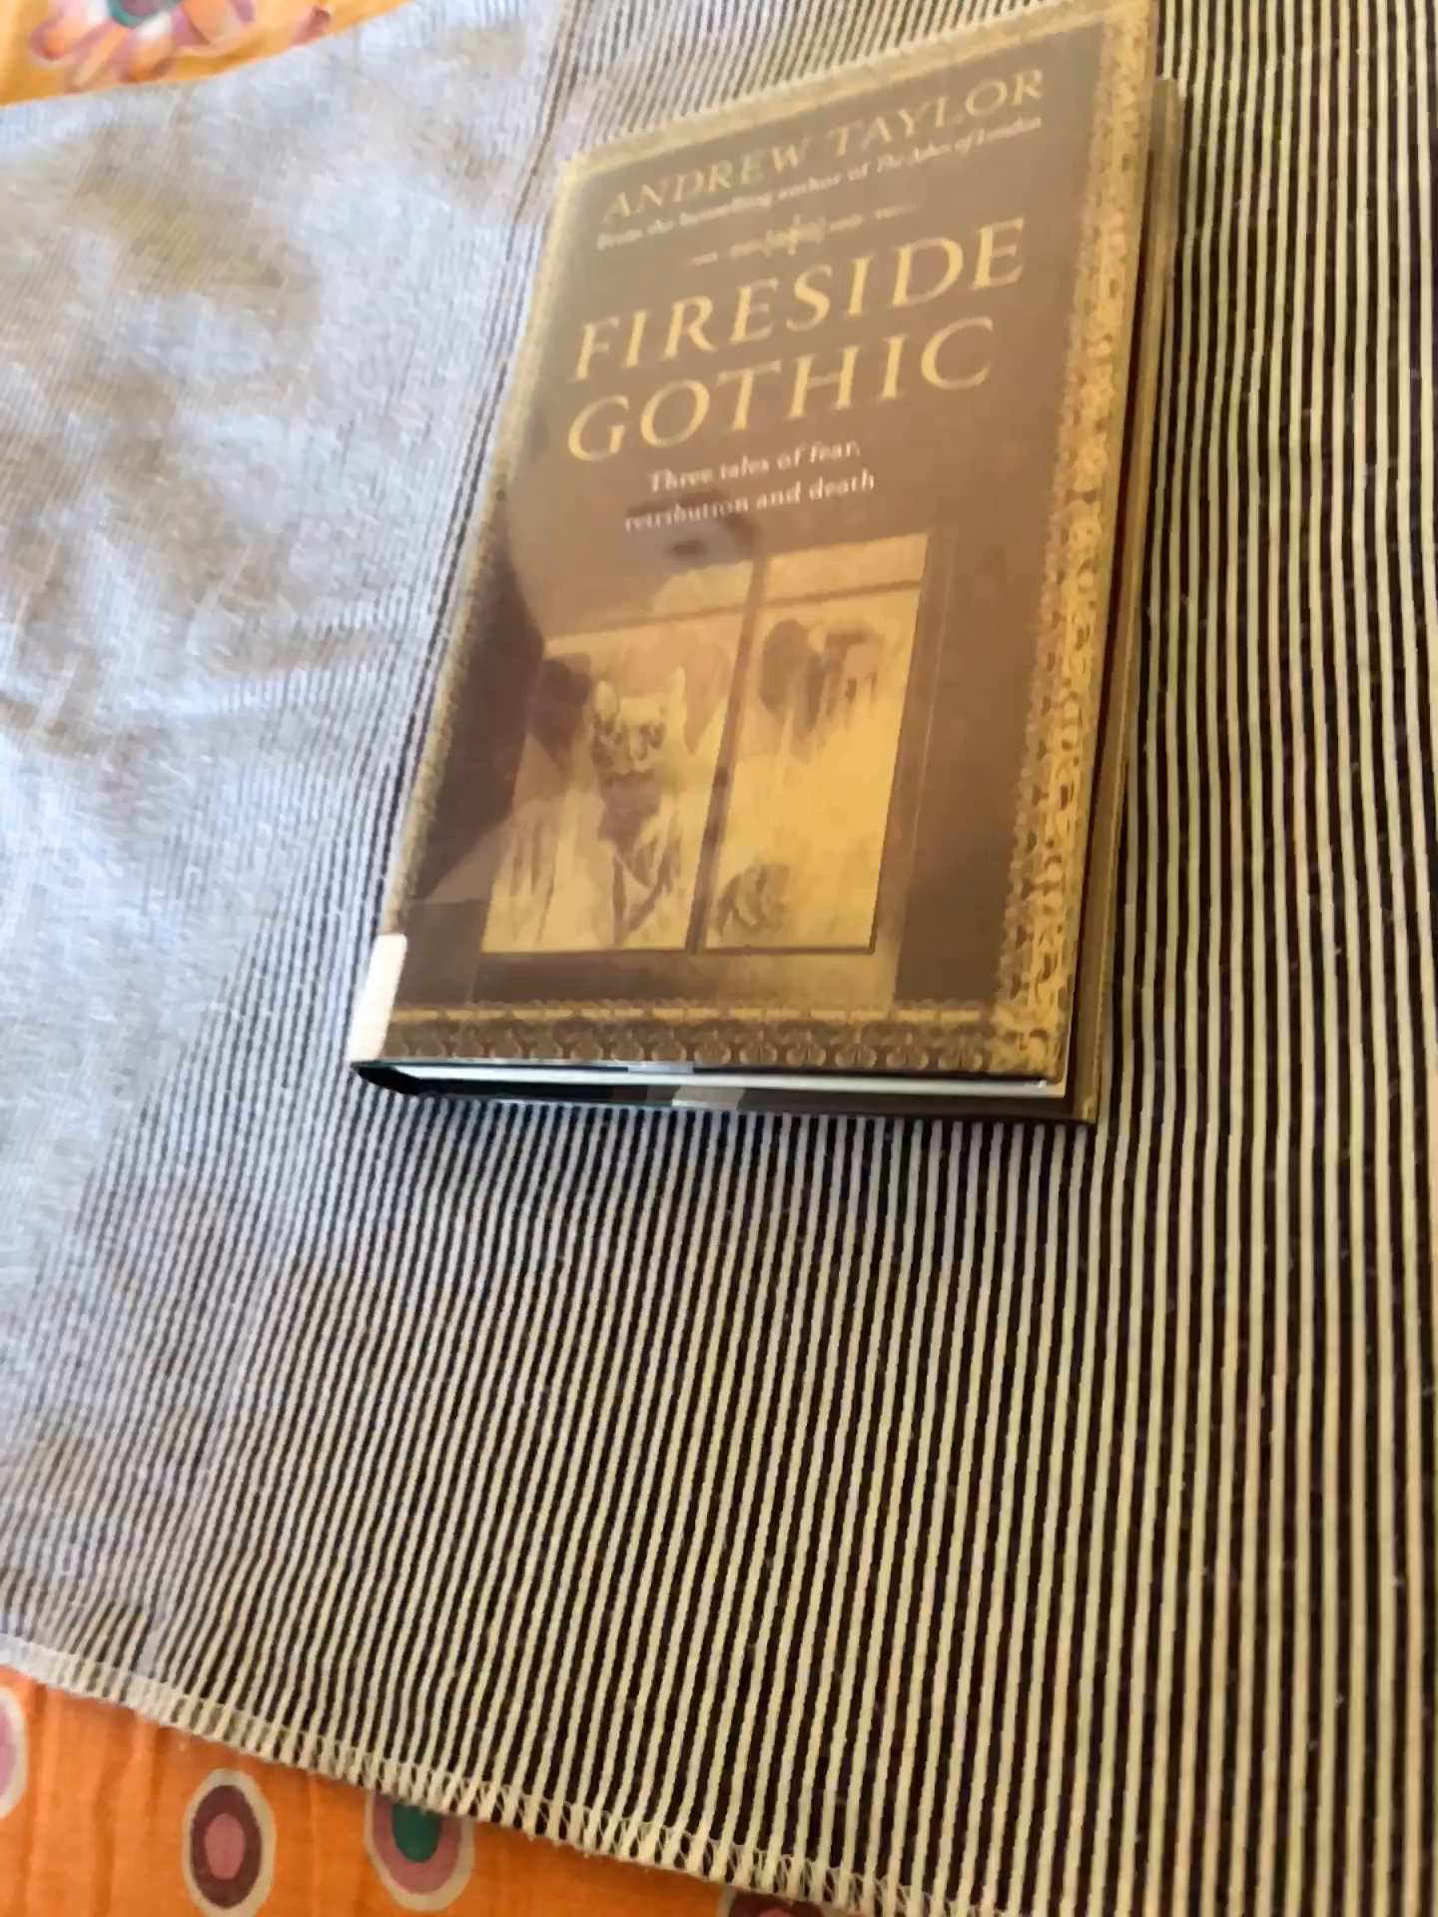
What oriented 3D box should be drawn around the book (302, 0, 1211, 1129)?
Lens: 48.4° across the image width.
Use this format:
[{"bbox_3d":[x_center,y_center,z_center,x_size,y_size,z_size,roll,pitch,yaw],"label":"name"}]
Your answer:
[{"bbox_3d":[0.012,-0.079,0.300,0.140,0.027,0.216,-1,68,27],"label":"book"}]
